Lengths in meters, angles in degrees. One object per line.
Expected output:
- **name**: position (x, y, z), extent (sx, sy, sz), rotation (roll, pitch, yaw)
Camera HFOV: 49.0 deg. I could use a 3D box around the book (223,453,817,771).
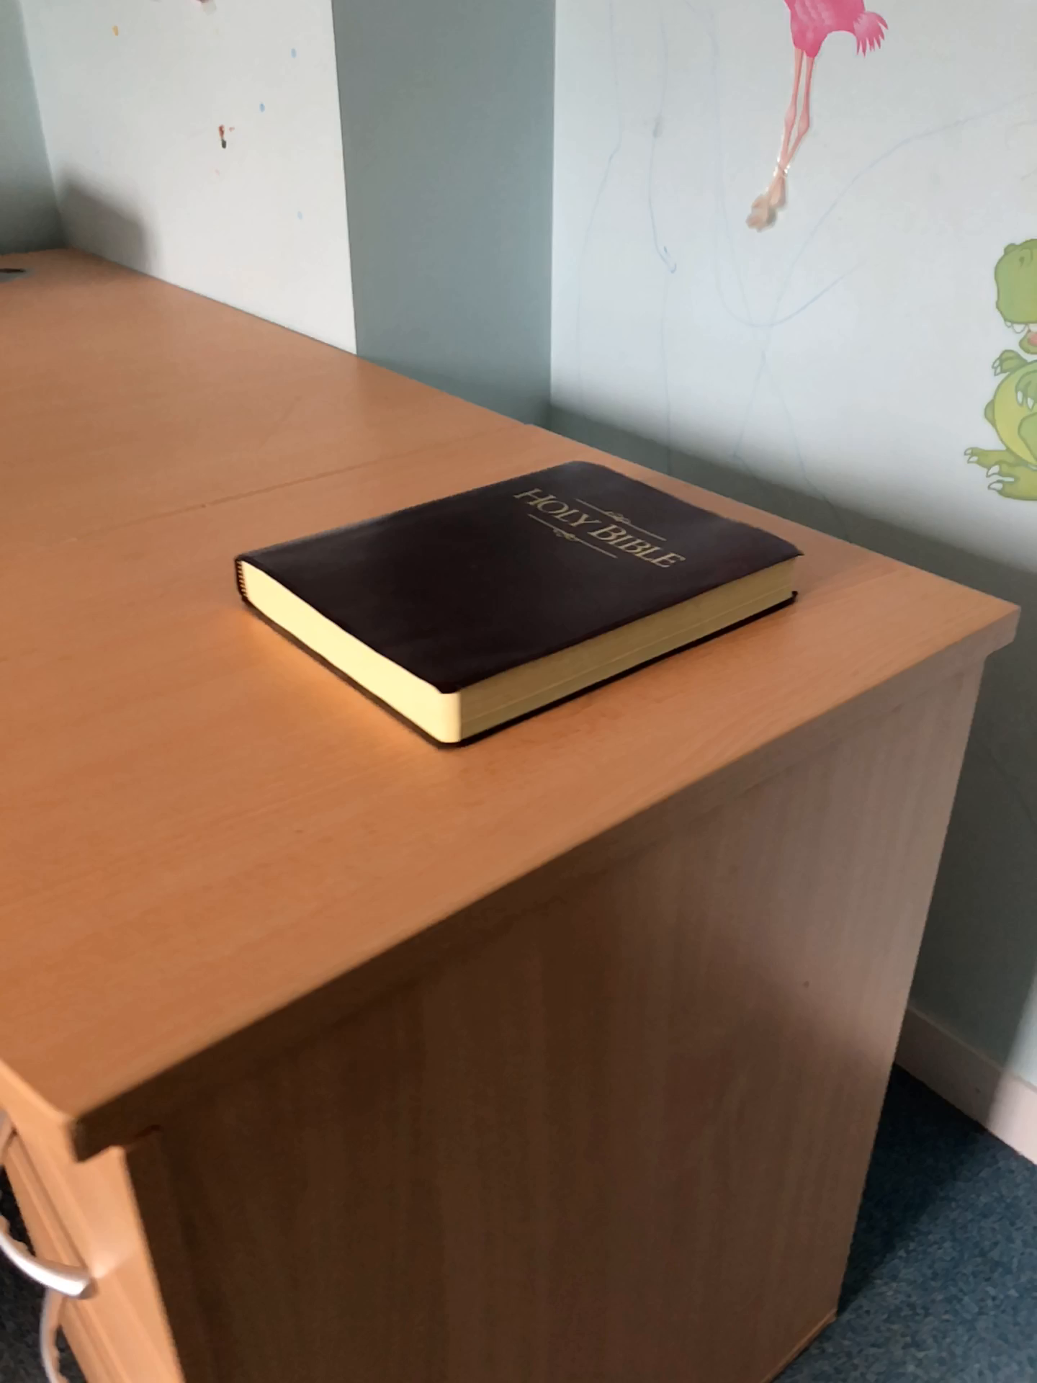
- **book**: position (0.001, -0.068, 0.695), extent (0.281, 0.040, 0.223), rotation (-22, 37, -32)
